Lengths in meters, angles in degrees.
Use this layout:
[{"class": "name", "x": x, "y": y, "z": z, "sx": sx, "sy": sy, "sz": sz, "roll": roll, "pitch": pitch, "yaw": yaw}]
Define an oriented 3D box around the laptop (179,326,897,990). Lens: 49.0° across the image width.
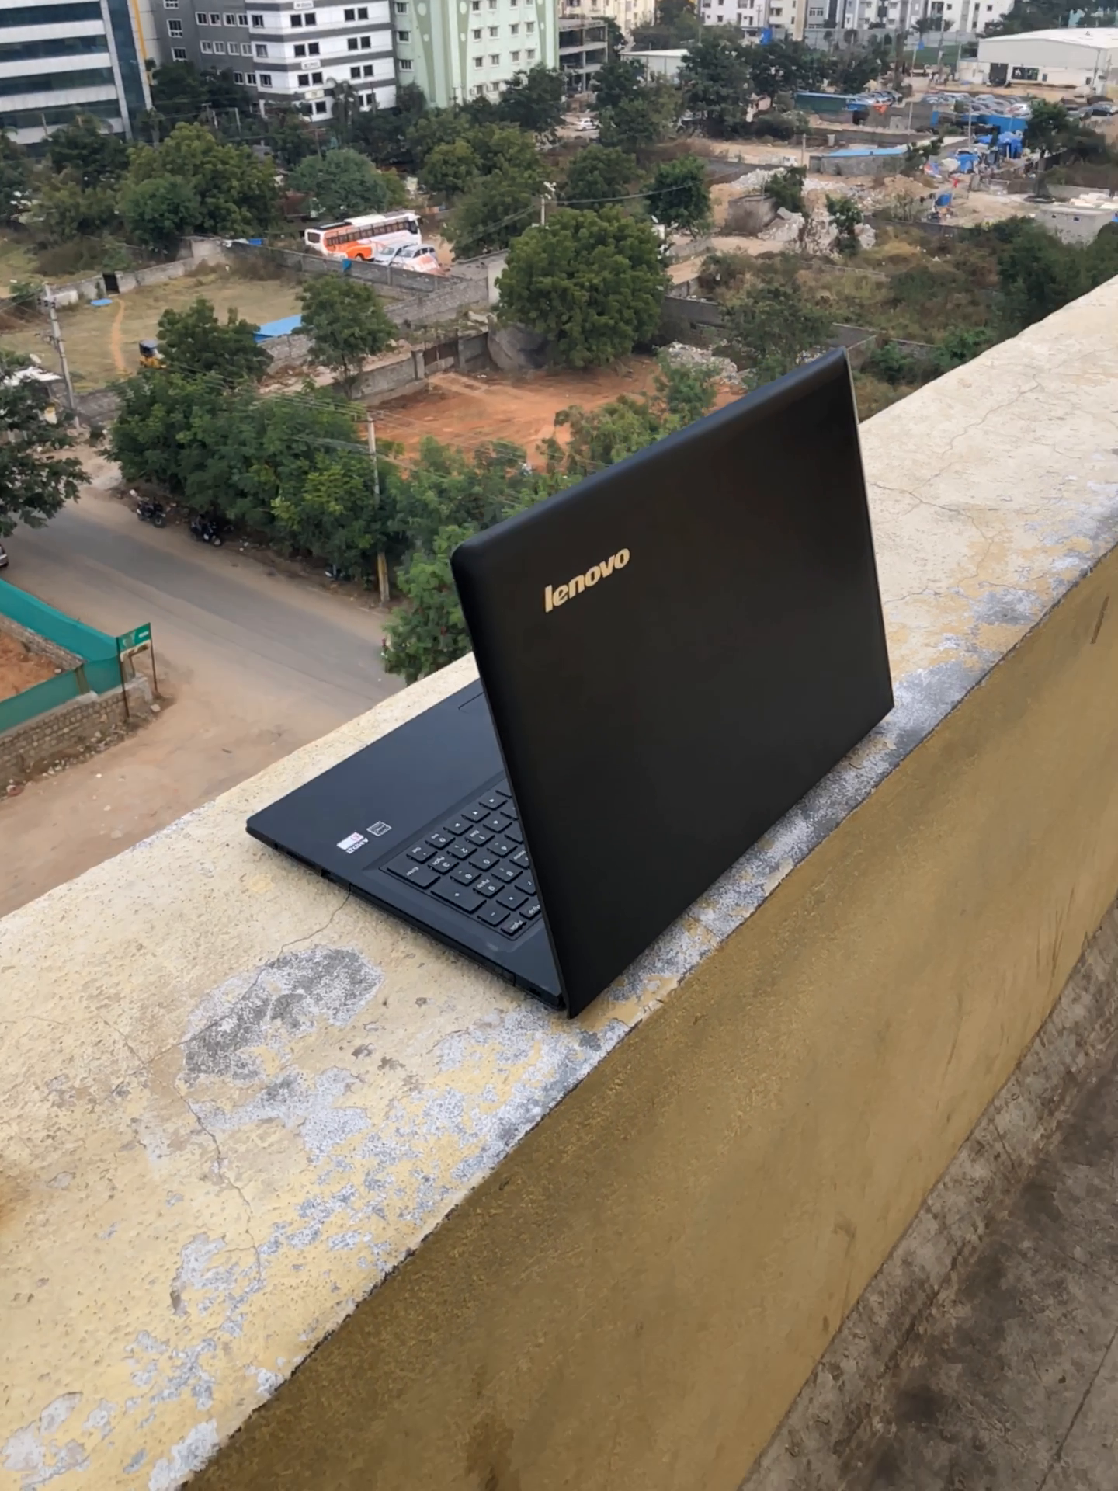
[{"class": "laptop", "x": 0.001, "y": -0.083, "z": 0.746, "sx": 0.245, "sy": 0.223, "sz": 0.335, "roll": 22, "pitch": 41, "yaw": 32}]
